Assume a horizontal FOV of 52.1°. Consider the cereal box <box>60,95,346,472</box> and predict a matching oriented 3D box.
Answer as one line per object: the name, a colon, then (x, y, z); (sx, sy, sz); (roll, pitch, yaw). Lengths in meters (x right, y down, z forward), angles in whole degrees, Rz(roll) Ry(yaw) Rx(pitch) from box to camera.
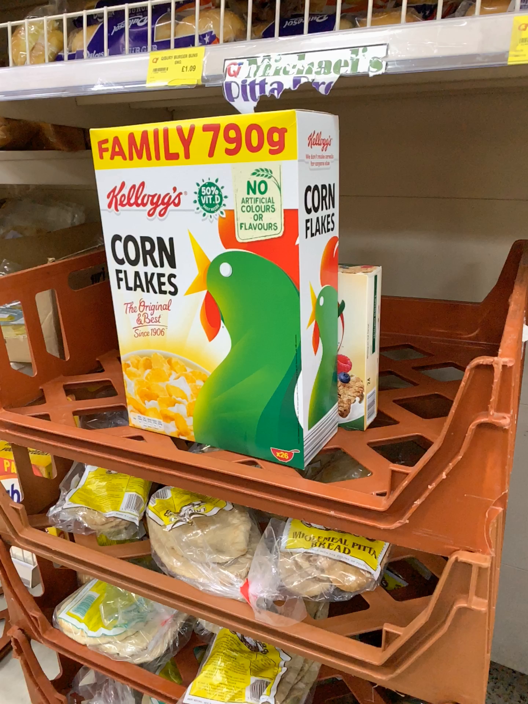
cereal box: (-0.058, -0.074, 0.575); (0.270, 0.338, 0.091); (8, 22, 27)
